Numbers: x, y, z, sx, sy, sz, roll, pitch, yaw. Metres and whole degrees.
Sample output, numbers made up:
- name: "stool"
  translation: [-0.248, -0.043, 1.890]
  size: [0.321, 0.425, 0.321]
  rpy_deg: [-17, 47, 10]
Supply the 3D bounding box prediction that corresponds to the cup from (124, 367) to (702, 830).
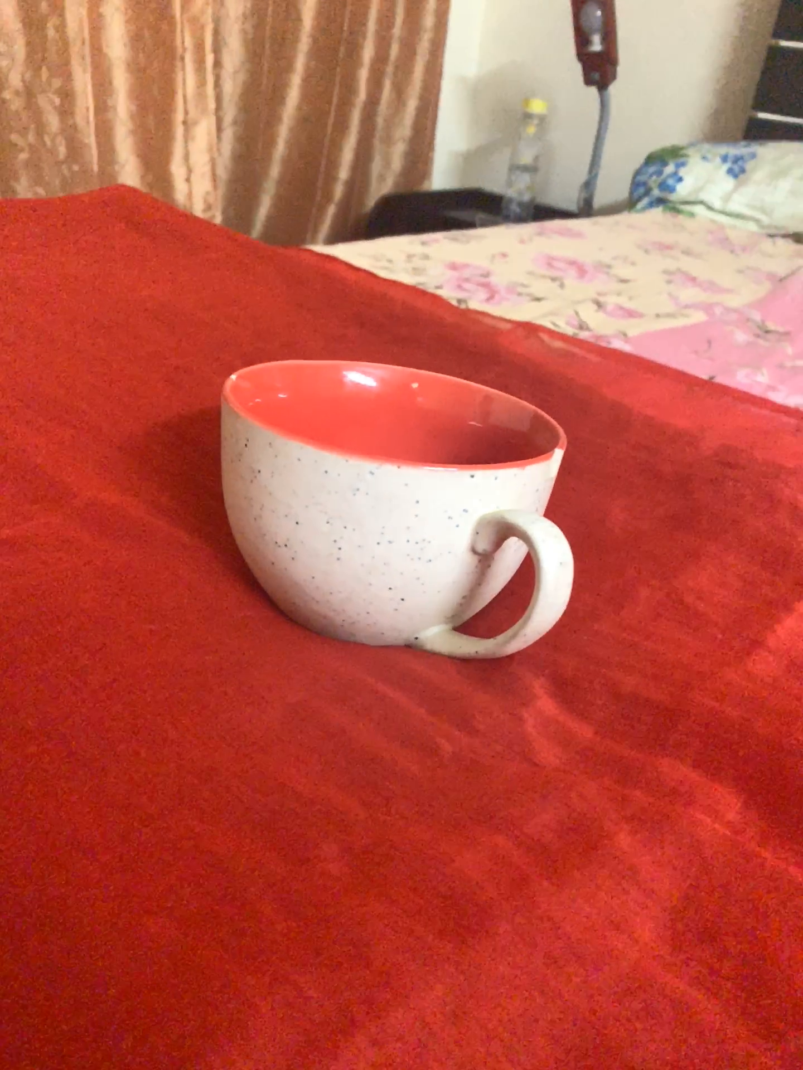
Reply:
- name: "cup"
  translation: [-0.006, 0.002, 0.282]
  size: [0.130, 0.069, 0.141]
  rpy_deg: [8, 27, -4]
